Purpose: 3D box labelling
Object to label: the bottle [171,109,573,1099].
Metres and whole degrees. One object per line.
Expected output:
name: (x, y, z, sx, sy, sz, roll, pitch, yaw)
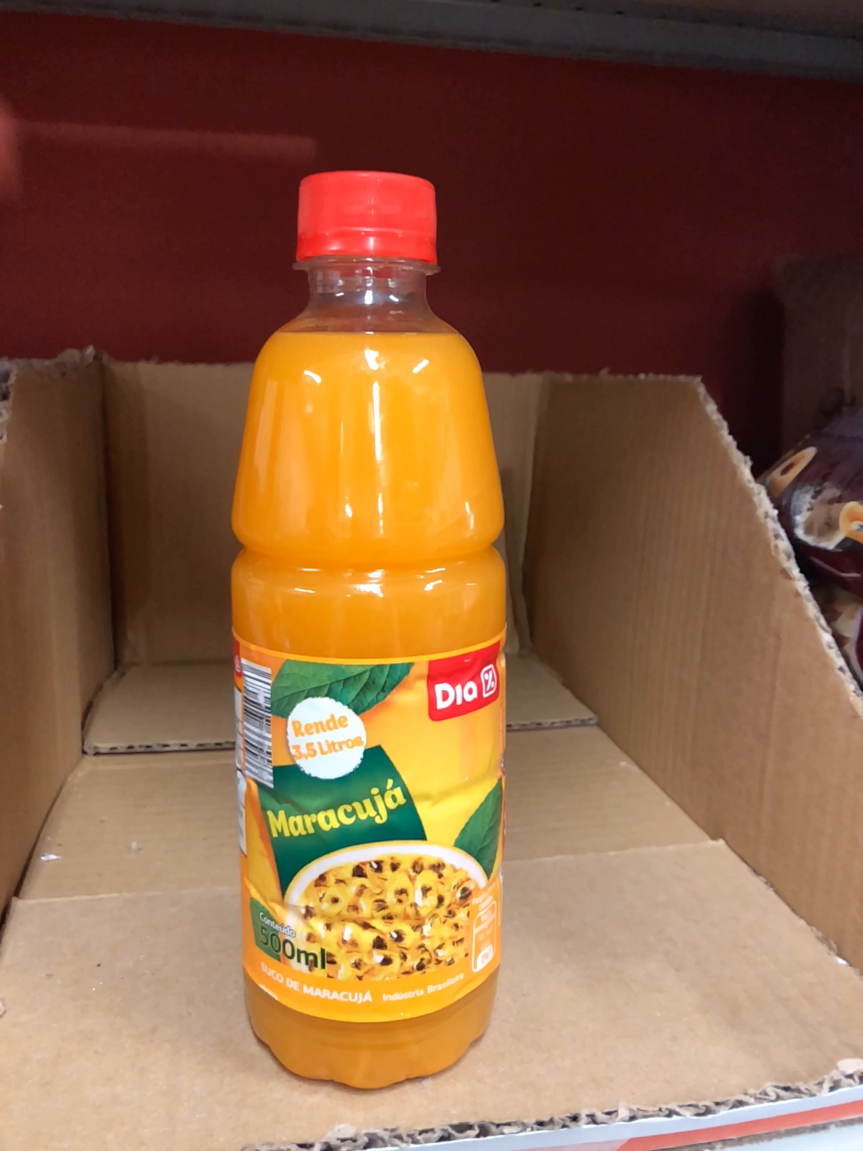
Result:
bottle: (-0.012, 0.009, 0.223, 0.070, 0.199, 0.070, 1, 12, 0)
